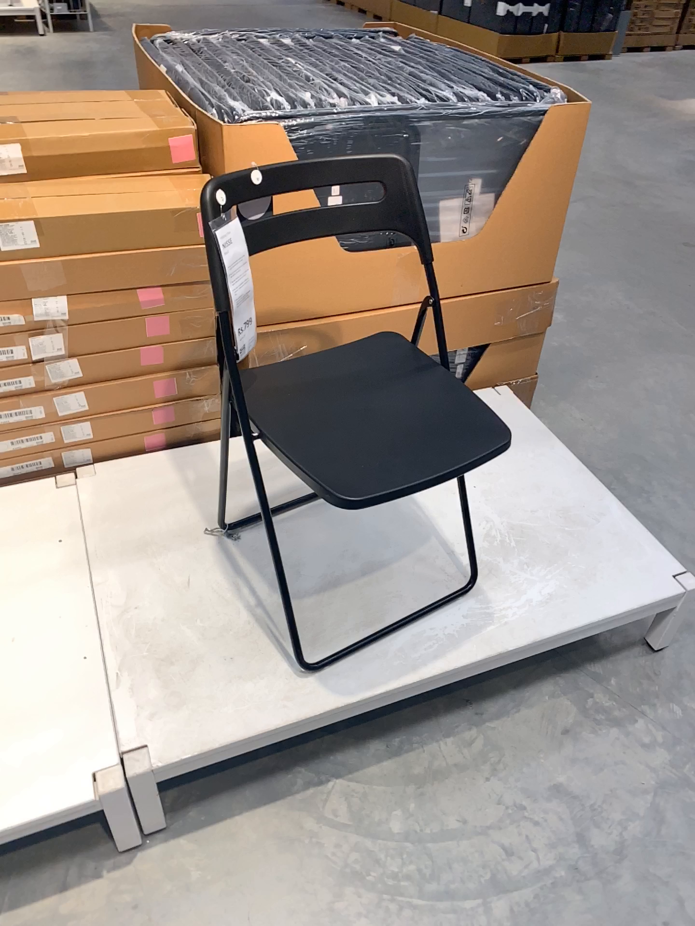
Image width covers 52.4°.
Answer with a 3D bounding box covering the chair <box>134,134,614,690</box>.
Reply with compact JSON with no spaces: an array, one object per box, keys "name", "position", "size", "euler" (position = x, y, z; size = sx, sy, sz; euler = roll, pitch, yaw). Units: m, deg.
[{"name":"chair","position":[0.007,-0.096,1.139],"size":[0.461,0.657,0.451],"euler":[-20,45,-26]}]
